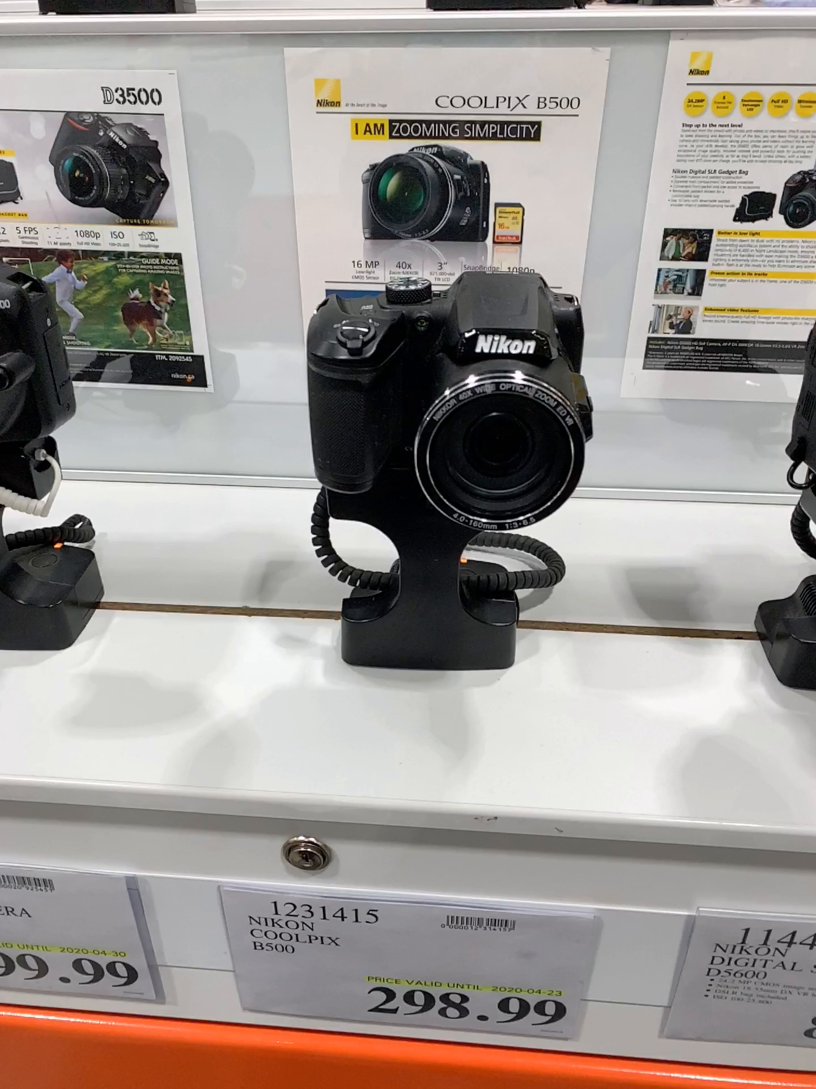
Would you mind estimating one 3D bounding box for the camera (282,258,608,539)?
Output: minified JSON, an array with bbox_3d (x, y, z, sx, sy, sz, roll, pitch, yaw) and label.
[{"bbox_3d":[0.014,-0.059,0.337,0.110,0.089,0.071,0,32,3],"label":"camera"}]
